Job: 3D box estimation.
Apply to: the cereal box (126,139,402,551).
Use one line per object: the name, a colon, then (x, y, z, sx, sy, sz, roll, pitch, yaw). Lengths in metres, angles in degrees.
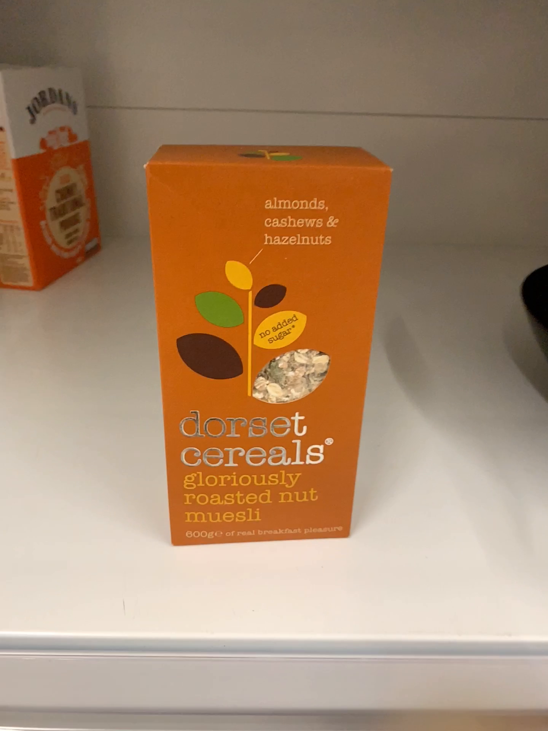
cereal box: (-0.008, -0.003, 0.326, 0.120, 0.228, 0.061, -1, 28, -5)
